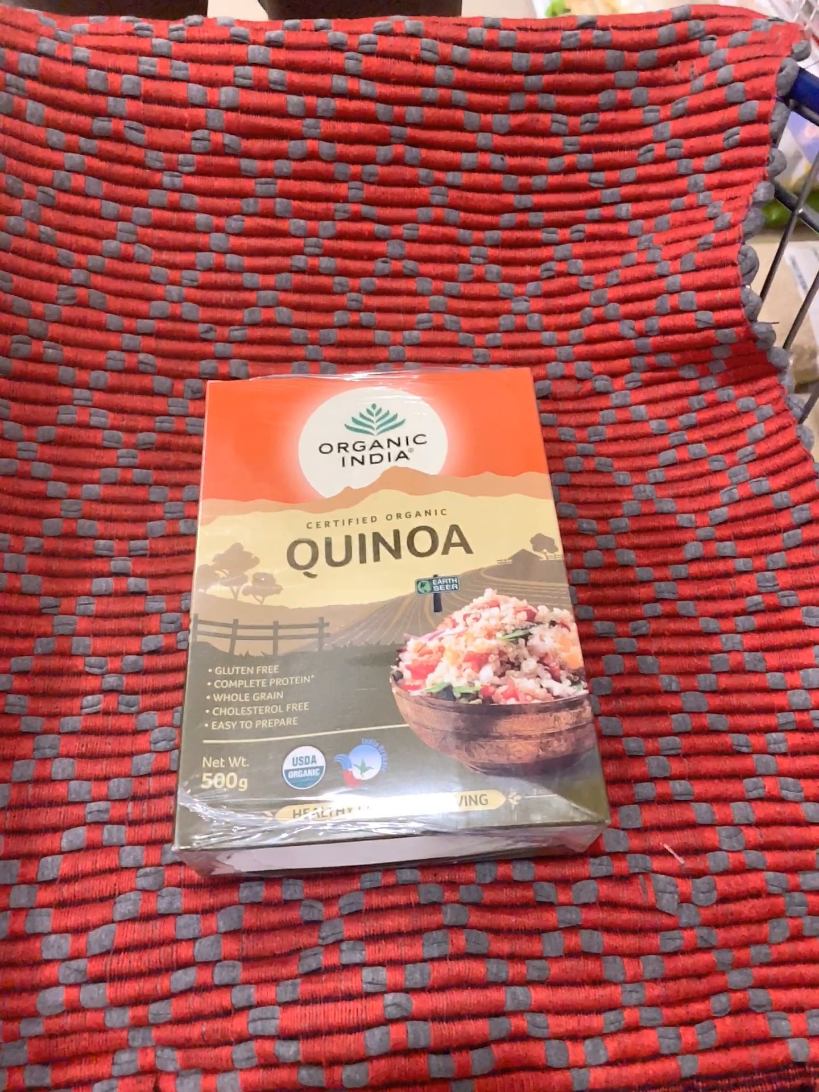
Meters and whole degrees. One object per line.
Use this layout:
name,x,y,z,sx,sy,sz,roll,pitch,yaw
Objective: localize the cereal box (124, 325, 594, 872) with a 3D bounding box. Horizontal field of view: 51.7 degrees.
cereal box,-0.019,0.014,0.307,0.130,0.070,0.180,-3,61,-2
